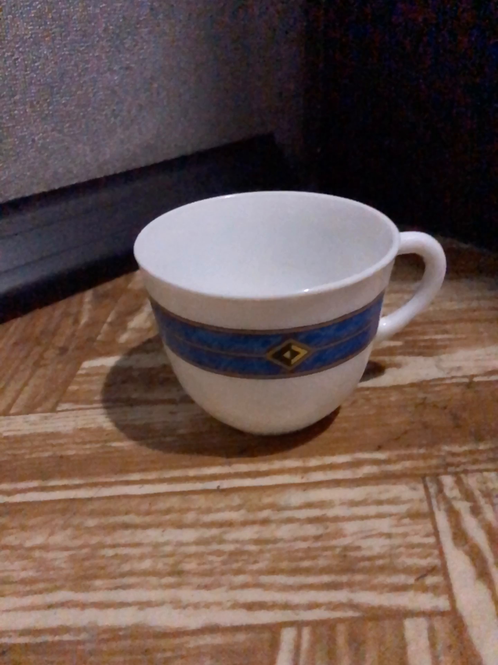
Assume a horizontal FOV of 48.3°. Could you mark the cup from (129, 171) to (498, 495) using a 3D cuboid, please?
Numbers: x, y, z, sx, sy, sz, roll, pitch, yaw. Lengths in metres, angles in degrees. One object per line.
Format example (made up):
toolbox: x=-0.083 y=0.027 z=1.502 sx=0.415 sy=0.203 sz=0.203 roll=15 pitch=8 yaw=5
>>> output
cup: x=0.021 y=-0.009 z=0.195 sx=0.110 sy=0.062 sz=0.088 roll=-9 pitch=32 yaw=-11
